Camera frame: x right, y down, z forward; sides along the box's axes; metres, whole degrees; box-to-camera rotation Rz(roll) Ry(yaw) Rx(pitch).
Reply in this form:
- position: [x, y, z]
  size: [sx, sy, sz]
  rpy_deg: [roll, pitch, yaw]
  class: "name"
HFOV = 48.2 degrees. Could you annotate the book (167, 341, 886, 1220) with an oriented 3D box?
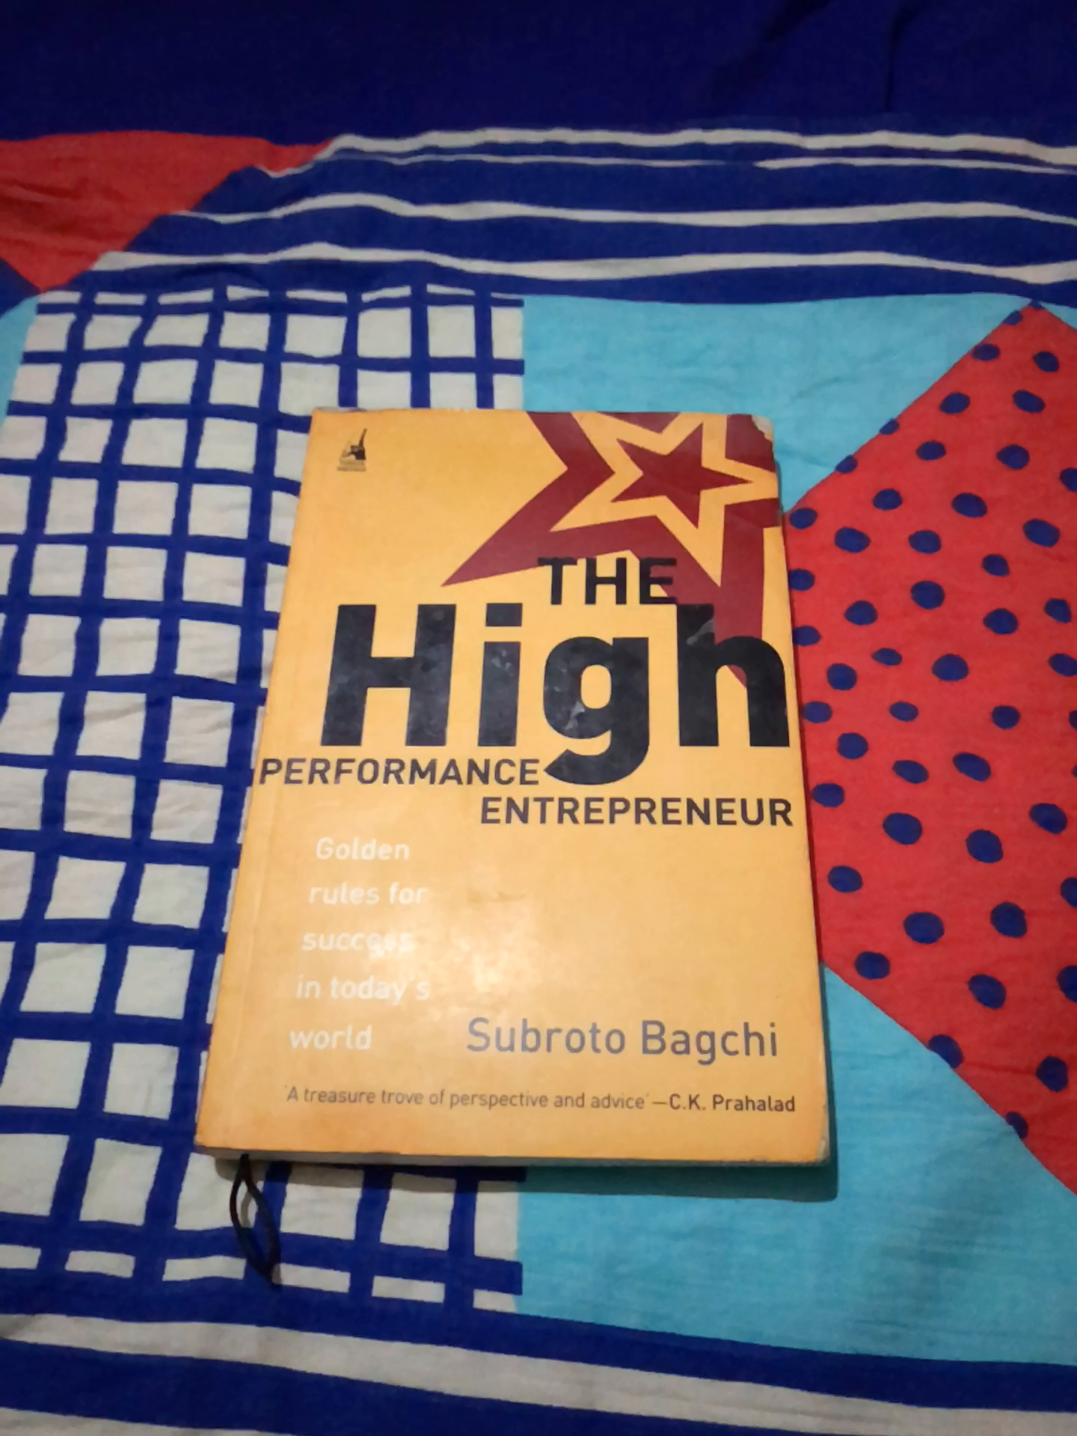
- position: [0.002, 0.000, 0.310]
  size: [0.140, 0.040, 0.231]
  rpy_deg: [1, 60, 3]
  class: "book"
